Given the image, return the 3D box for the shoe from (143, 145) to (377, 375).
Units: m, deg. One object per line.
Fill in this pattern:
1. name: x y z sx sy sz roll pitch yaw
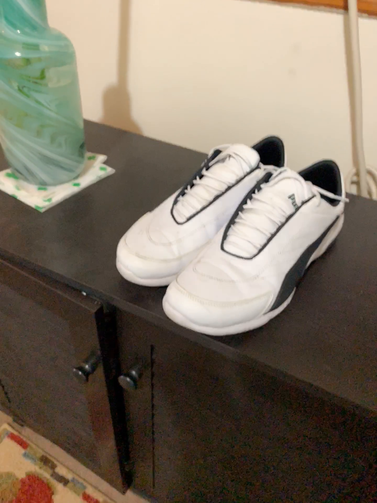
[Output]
1. shoe: 0.097 -0.012 0.434 0.292 0.089 0.100 -33 52 -31

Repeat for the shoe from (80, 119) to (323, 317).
1. shoe: 0.028 -0.061 0.481 0.282 0.089 0.120 -33 52 -31
